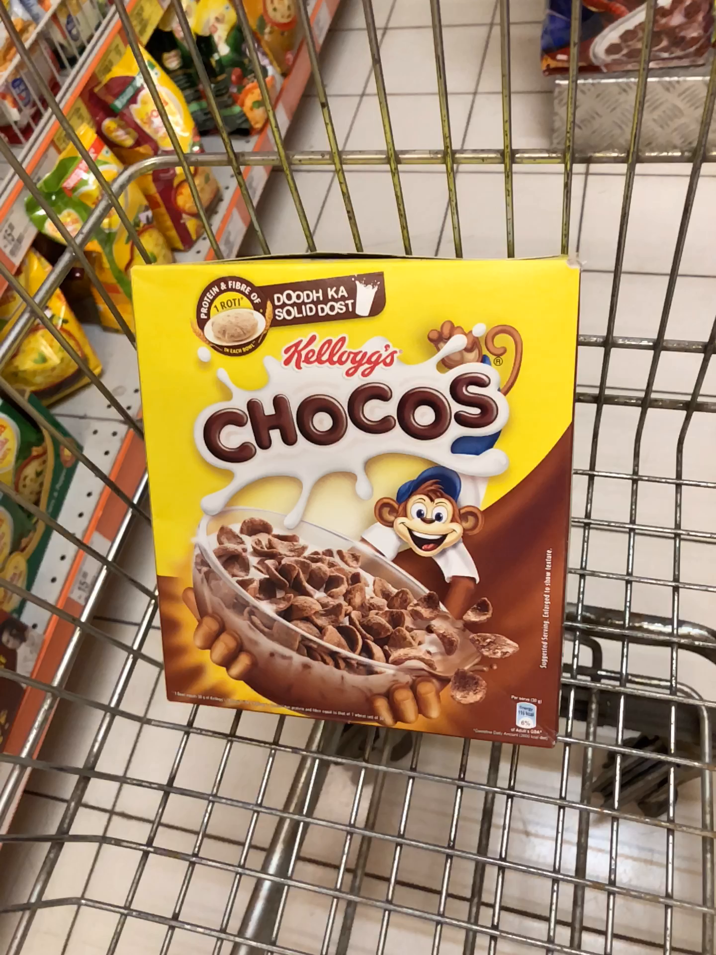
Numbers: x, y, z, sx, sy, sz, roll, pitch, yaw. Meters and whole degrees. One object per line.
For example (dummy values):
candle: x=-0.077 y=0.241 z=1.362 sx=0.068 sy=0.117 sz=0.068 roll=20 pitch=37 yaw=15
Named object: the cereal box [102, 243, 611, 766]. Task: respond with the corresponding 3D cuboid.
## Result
cereal box: x=0.001 y=0.004 z=0.346 sx=0.190 sy=0.070 sz=0.200 roll=3 pitch=104 yaw=13
